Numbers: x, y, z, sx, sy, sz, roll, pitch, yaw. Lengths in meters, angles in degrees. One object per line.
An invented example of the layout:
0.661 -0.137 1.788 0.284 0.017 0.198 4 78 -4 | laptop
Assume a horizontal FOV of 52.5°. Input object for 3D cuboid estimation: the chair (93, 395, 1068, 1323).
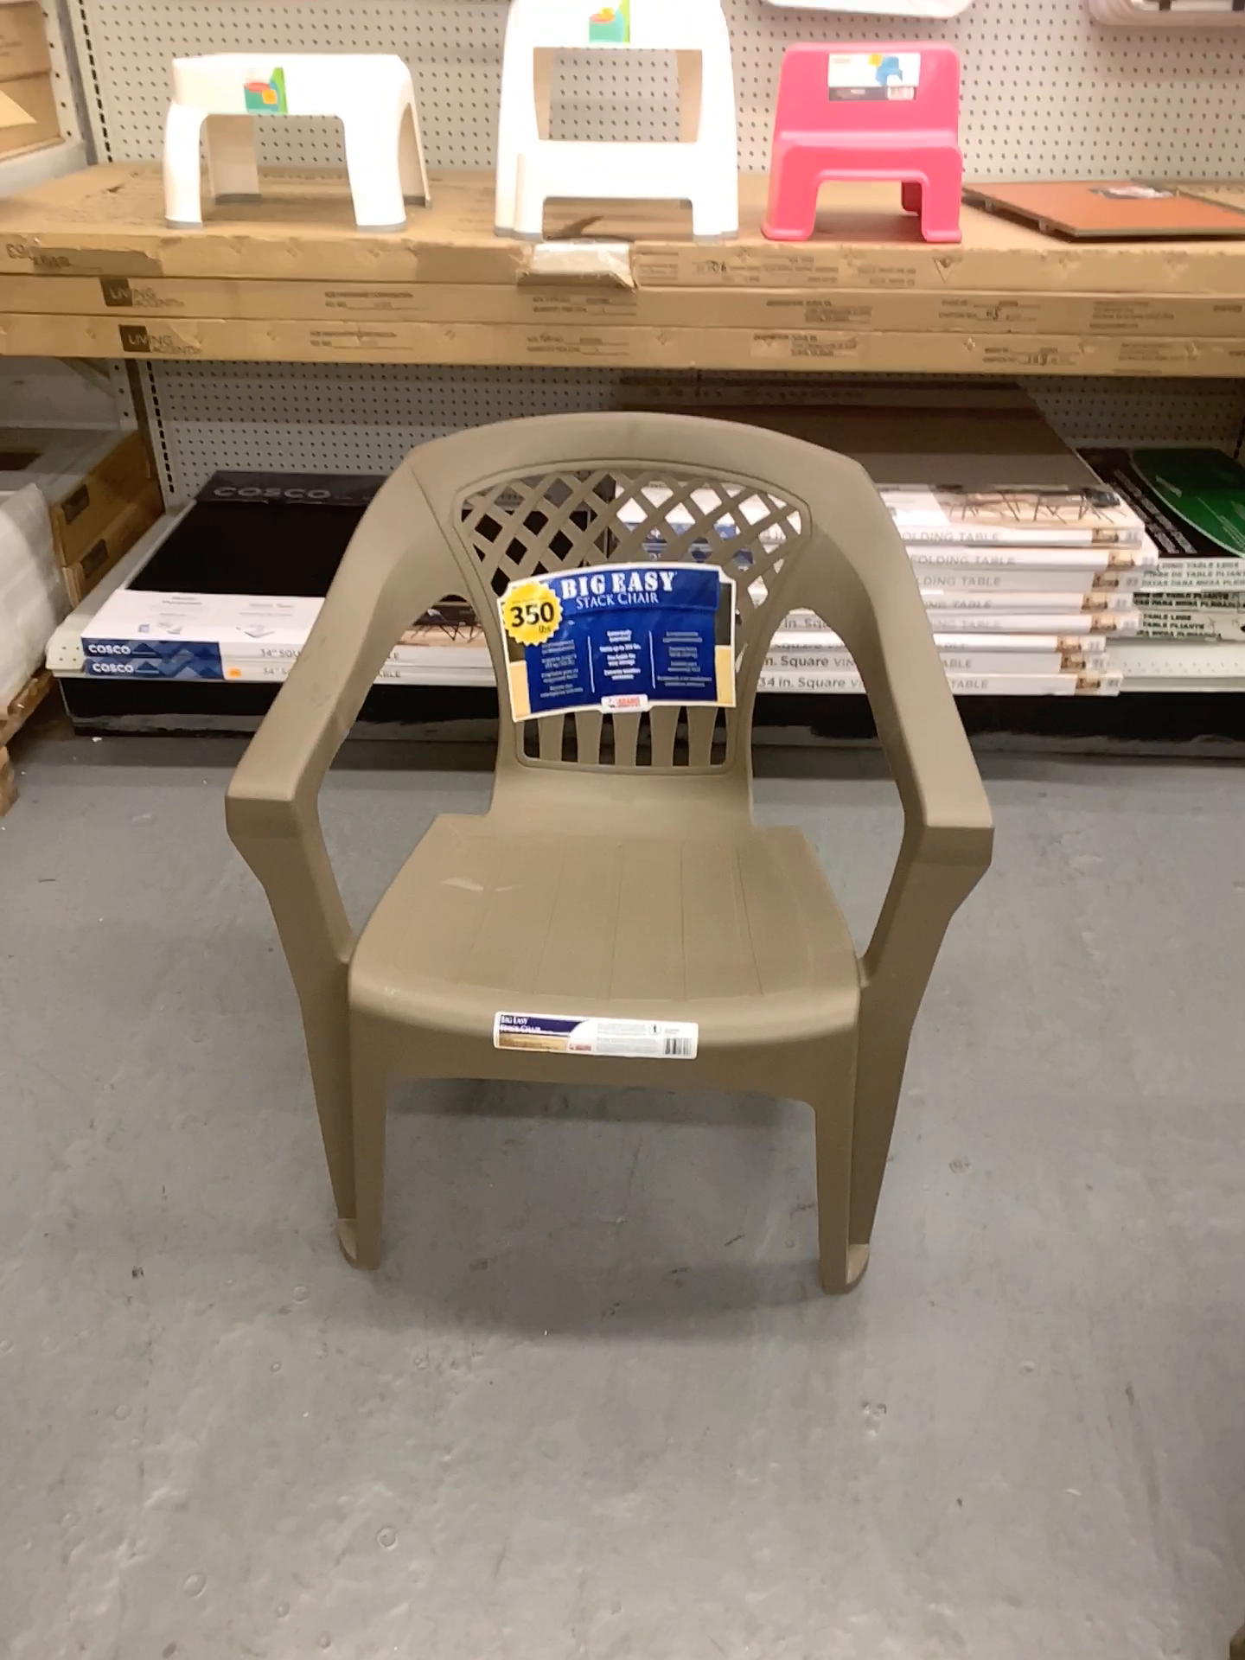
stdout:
-0.033 0.026 1.474 0.766 0.878 0.590 2 32 1 | chair
